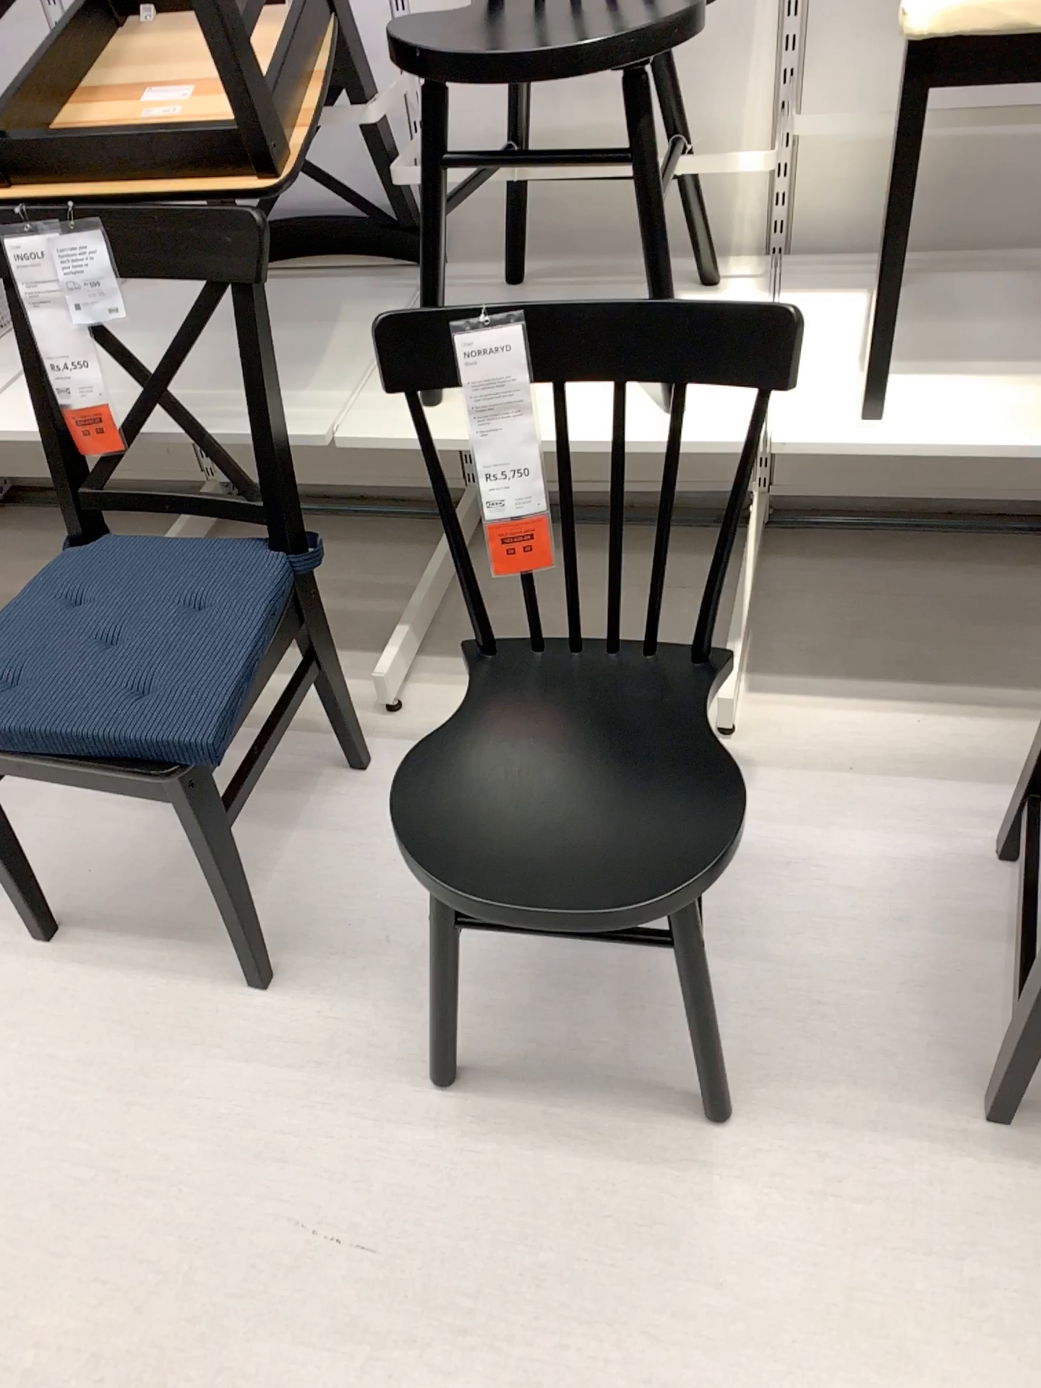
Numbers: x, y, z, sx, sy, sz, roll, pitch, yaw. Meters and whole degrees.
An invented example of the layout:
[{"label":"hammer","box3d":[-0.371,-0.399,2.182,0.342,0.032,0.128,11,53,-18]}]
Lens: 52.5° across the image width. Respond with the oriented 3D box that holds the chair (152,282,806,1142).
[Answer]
[{"label":"chair","box3d":[0.044,0.037,1.189,0.470,0.787,0.522,4,44,12]}]
